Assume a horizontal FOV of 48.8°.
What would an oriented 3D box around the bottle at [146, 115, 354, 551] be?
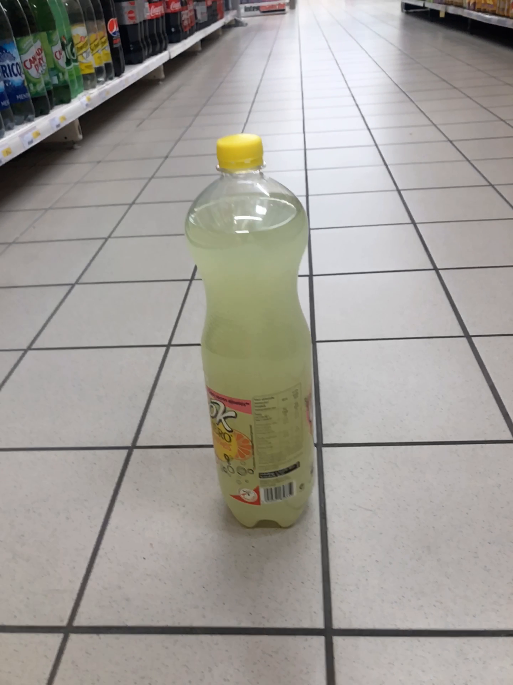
[{"bbox_3d":[0.001,0.000,0.428,0.100,0.298,0.110,-14,32,-14],"label":"bottle"}]
